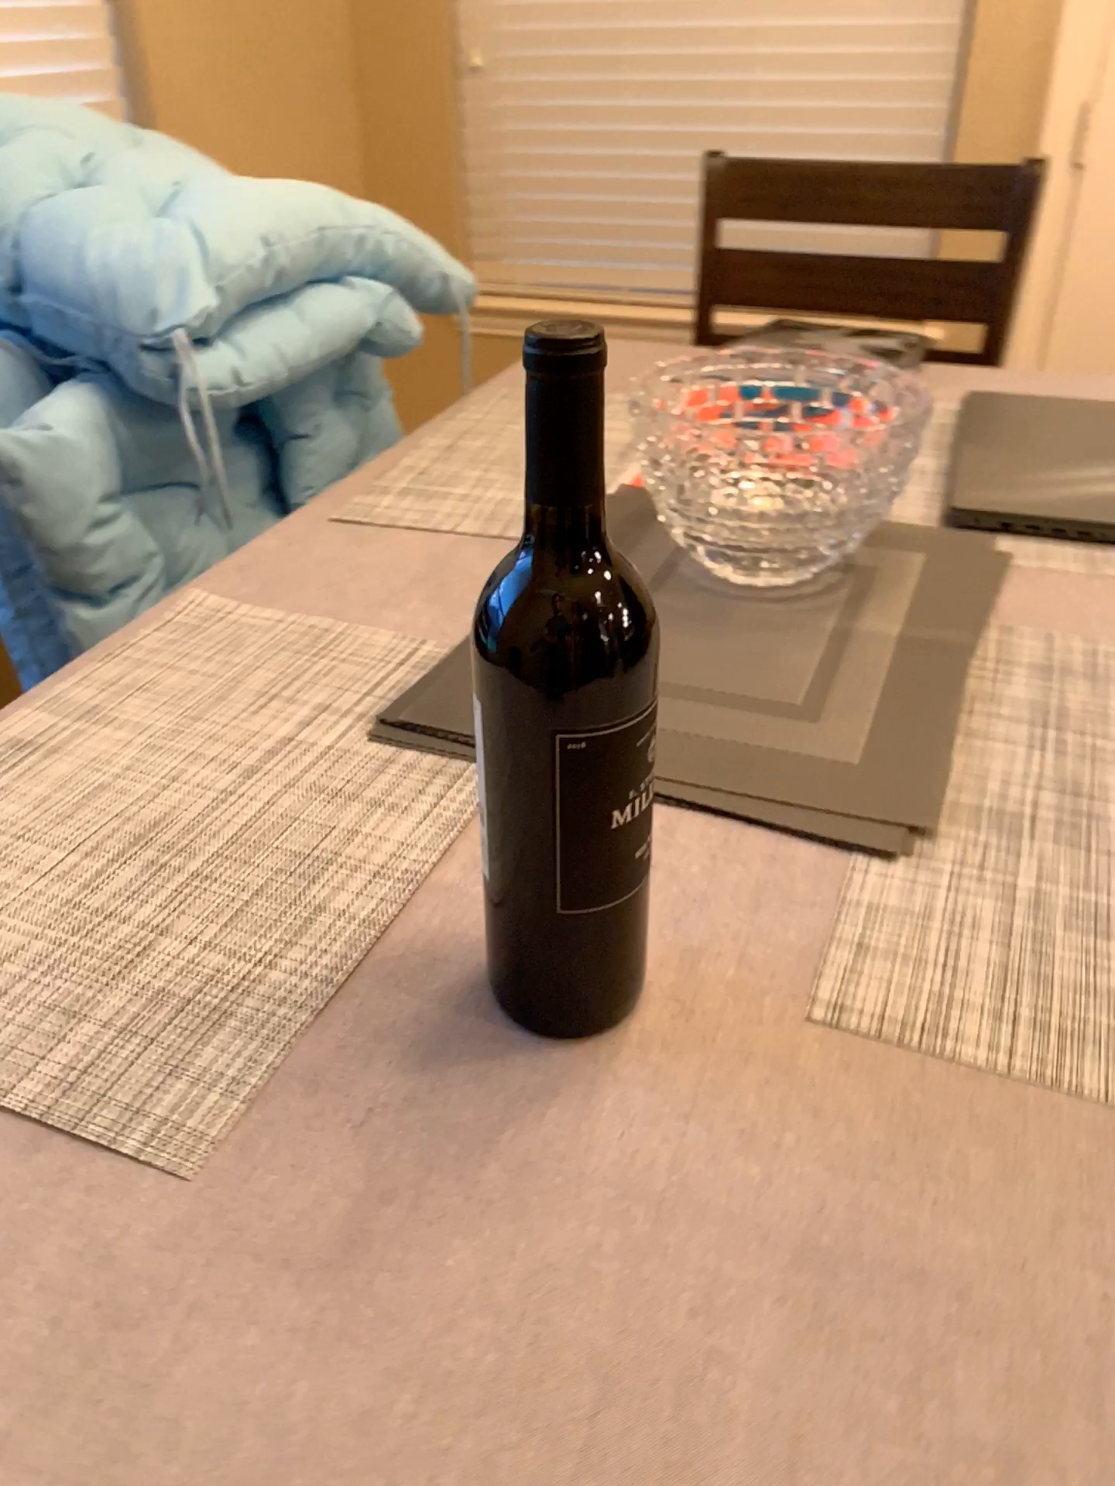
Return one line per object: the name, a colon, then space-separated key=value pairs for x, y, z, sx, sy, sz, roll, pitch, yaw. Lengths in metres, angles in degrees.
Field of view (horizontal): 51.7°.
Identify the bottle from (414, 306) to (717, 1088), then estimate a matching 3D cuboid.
bottle: x=0.007 y=-0.006 z=0.477 sx=0.080 sy=0.314 sz=0.080 roll=-1 pitch=32 yaw=0
